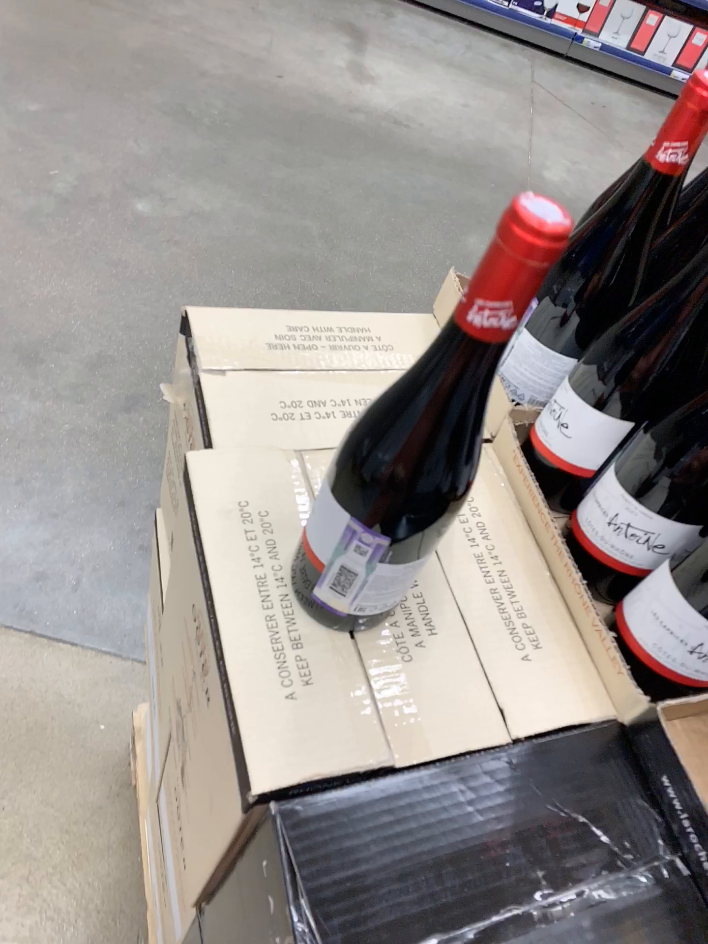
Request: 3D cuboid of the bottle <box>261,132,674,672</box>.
[{"bbox_3d":[0.036,-0.012,0.398,0.090,0.298,0.090,10,49,-11],"label":"bottle"}]
